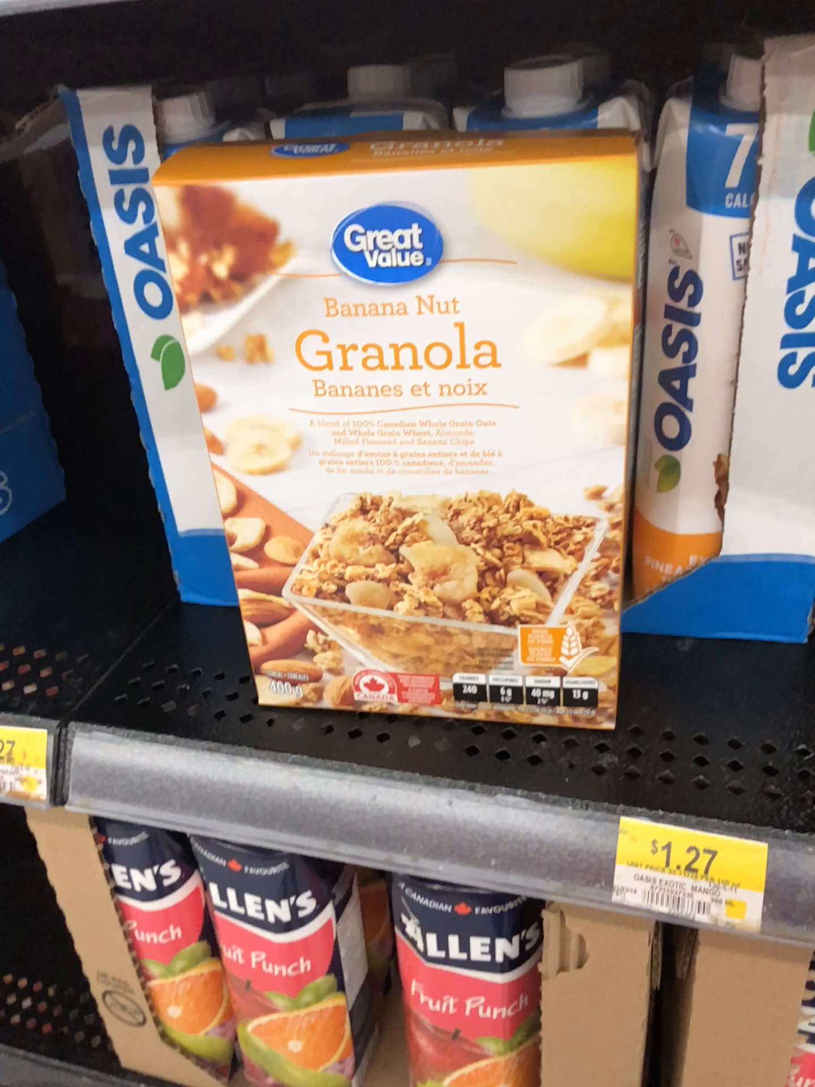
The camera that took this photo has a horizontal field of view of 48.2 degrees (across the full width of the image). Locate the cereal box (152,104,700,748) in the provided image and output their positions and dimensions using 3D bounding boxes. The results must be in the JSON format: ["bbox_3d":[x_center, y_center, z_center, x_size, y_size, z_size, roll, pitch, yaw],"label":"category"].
[{"bbox_3d":[0.014,-0.035,0.339,0.160,0.219,0.060,2,29,12],"label":"cereal box"}]
